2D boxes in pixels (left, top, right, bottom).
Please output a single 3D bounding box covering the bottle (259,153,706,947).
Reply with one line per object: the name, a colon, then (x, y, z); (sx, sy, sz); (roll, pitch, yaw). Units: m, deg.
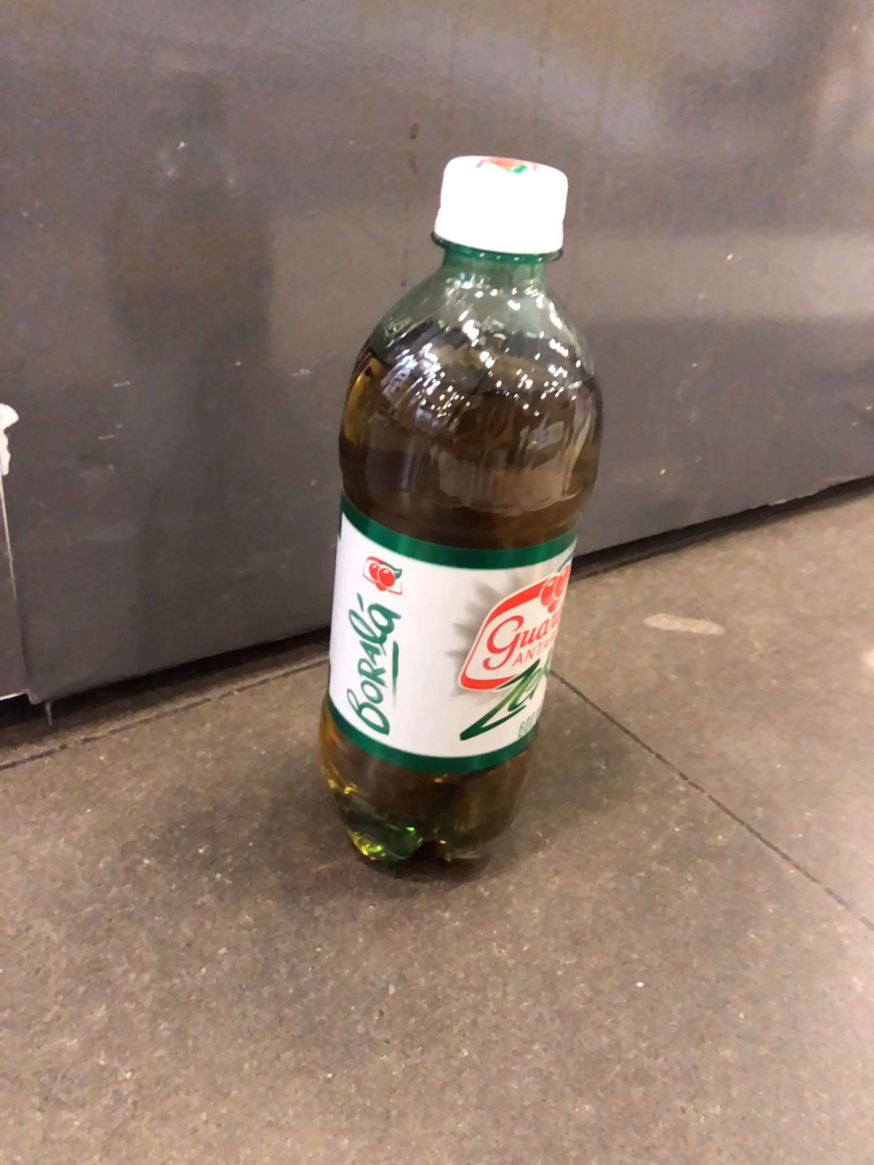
bottle: (0.004, -0.007, 0.287); (0.070, 0.208, 0.080); (28, 36, 32)
